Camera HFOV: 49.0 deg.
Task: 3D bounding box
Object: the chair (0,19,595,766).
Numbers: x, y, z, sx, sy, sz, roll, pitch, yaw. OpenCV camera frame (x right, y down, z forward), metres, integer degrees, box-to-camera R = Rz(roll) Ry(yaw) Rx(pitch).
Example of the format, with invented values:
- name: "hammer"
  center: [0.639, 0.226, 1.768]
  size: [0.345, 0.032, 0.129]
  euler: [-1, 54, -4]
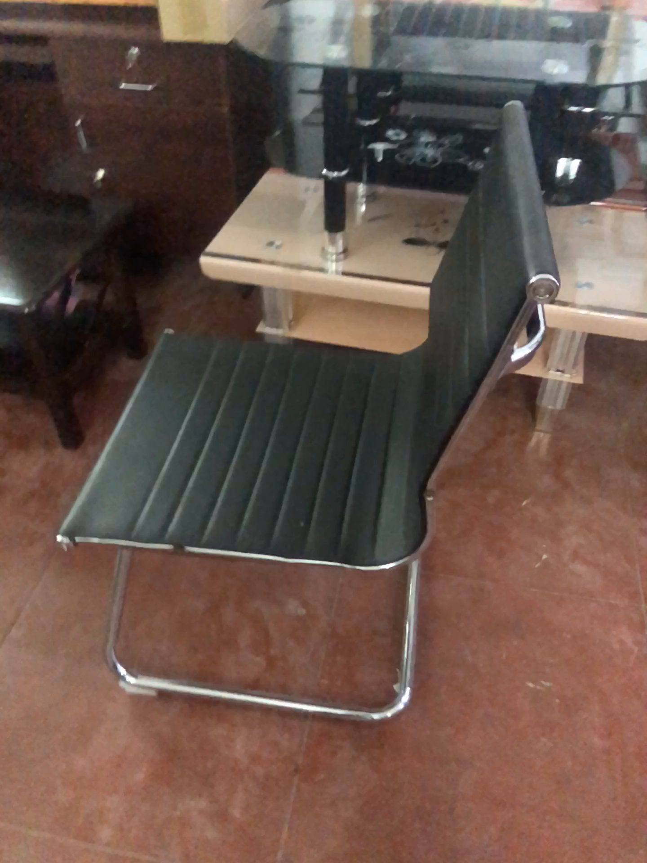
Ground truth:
- name: "chair"
  center: [-0.099, -0.038, 1.046]
  size: [0.680, 0.856, 0.593]
  euler: [6, 43, 6]
